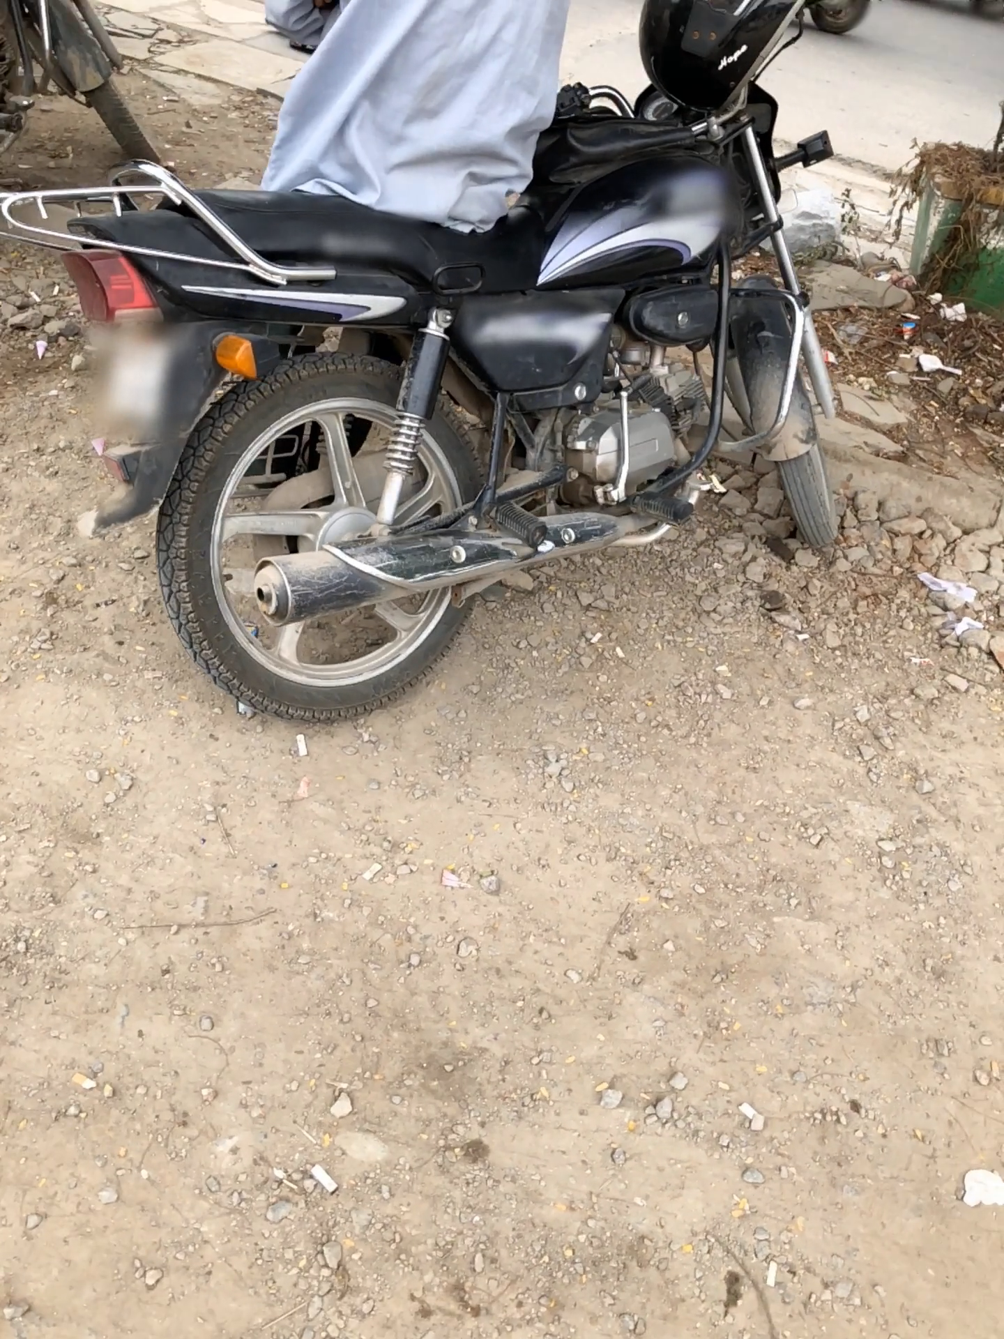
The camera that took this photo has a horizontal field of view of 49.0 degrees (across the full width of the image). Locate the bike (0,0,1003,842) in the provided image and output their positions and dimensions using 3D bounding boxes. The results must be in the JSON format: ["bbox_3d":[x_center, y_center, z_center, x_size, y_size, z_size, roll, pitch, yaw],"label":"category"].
[{"bbox_3d":[0.006,-0.689,1.966,1.603,1.170,0.740,-27,54,-37],"label":"bike"}]
